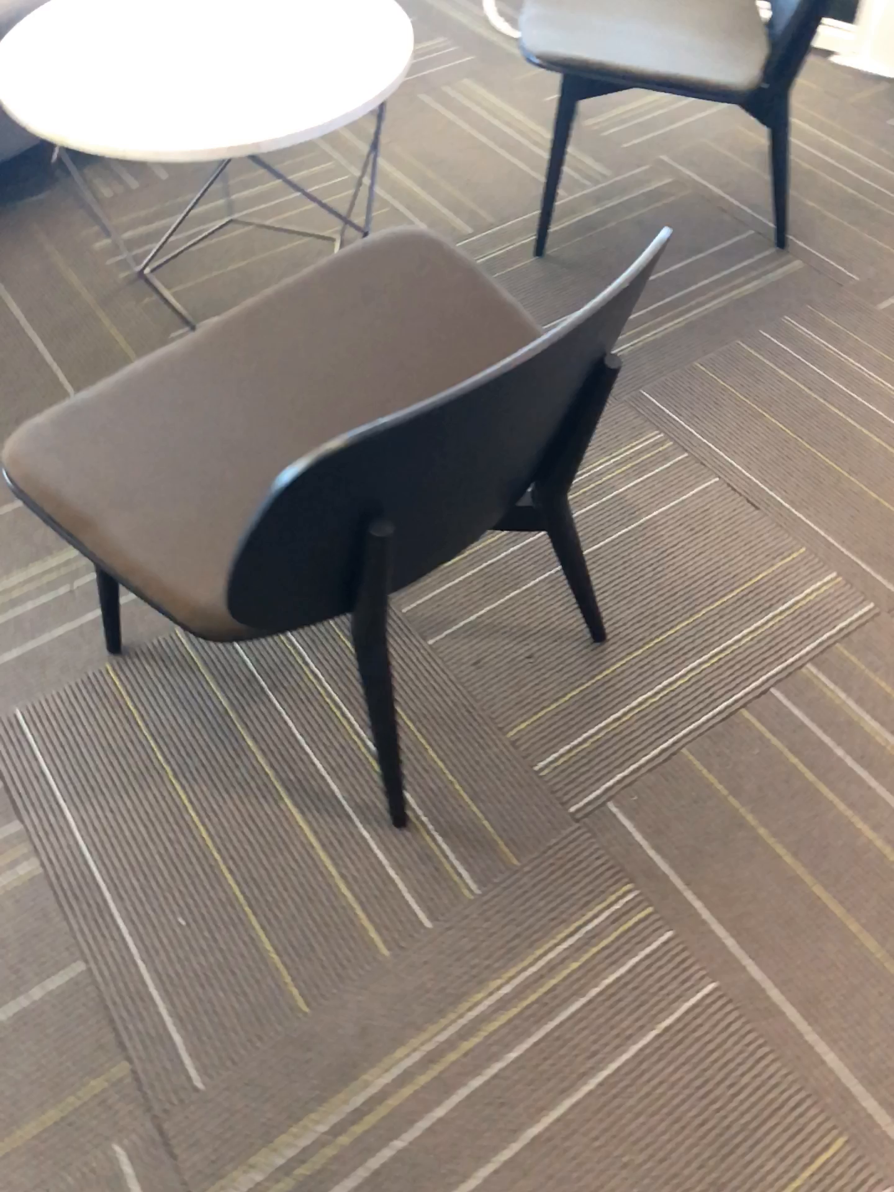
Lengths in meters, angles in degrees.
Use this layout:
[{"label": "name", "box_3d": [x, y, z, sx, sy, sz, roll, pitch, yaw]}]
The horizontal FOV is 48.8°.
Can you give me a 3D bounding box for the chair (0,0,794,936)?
[{"label": "chair", "box_3d": [-0.150, -0.188, 1.272, 0.742, 0.737, 0.671, 36, 60, 26]}]
